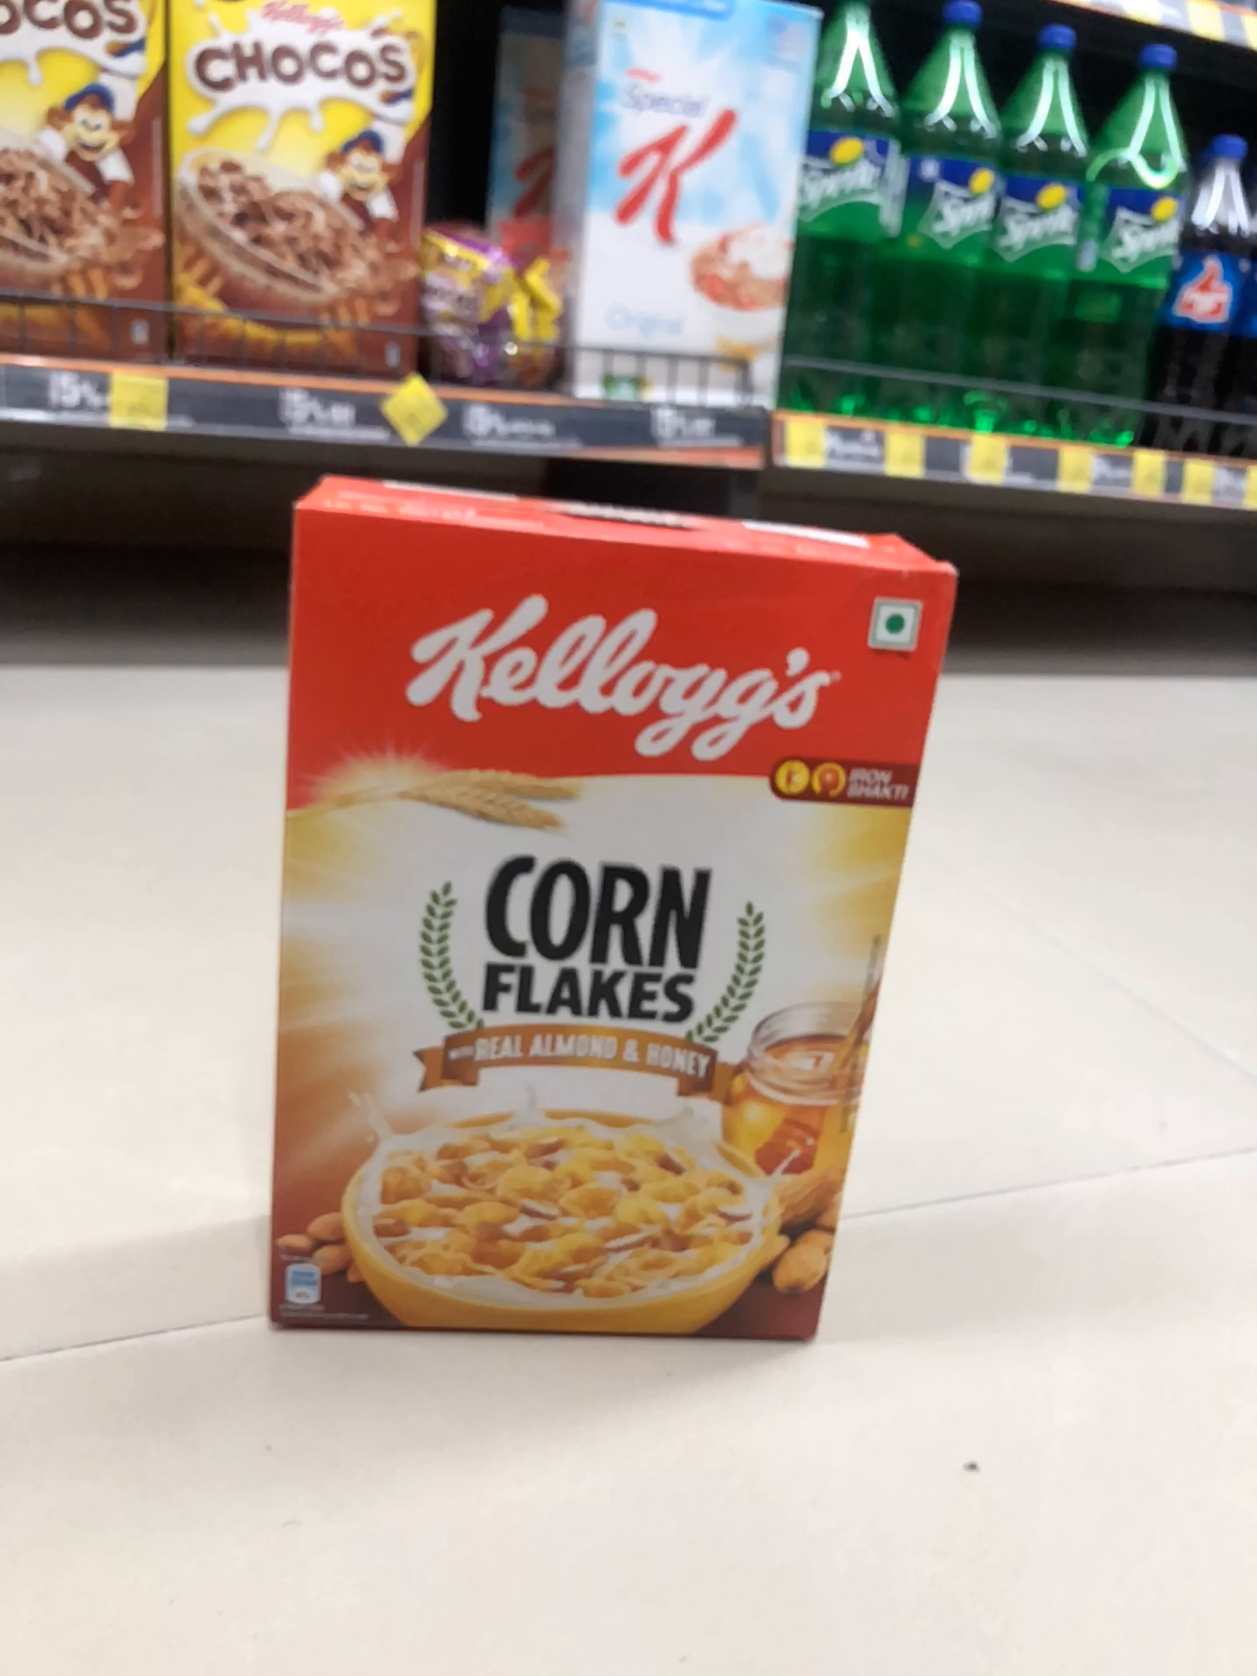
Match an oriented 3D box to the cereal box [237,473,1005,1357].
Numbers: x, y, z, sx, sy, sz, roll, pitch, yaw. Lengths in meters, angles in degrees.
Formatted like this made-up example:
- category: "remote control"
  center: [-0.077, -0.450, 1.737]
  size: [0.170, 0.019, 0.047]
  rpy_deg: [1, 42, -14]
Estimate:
- category: "cereal box"
  center: [-0.014, 0.030, 0.428]
  size: [0.190, 0.249, 0.070]
  rpy_deg: [4, 20, -7]
